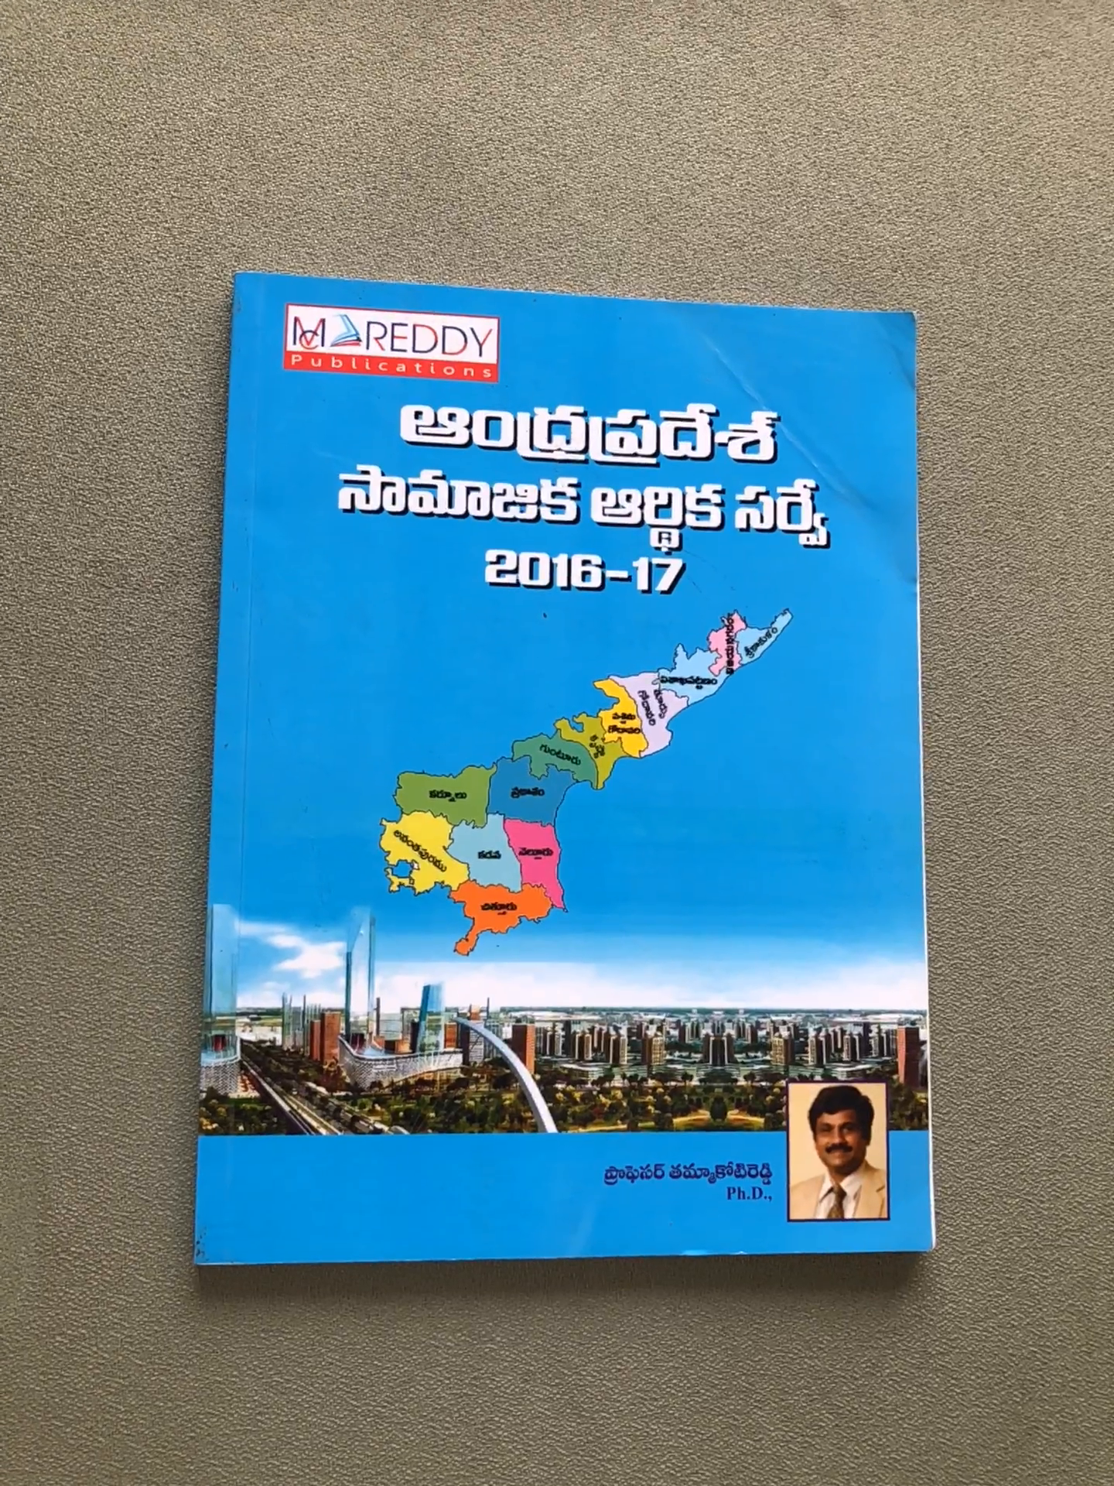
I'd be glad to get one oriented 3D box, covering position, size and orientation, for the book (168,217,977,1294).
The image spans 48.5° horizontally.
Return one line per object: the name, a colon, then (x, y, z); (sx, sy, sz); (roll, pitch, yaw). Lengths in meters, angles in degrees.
book: (0.008, 0.001, 0.294); (0.180, 0.020, 0.240); (2, 84, -6)
